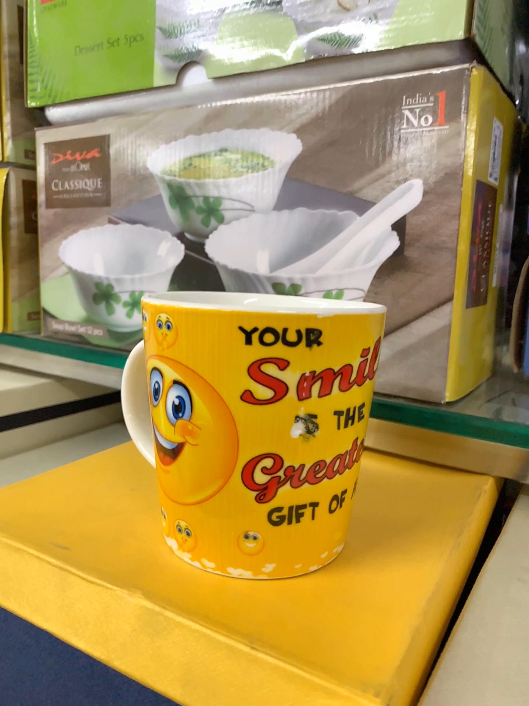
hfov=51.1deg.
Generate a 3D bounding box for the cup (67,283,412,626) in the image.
[{"bbox_3d":[-0.017,0.022,0.219,0.070,0.090,0.120,-8,14,-44],"label":"cup"}]
